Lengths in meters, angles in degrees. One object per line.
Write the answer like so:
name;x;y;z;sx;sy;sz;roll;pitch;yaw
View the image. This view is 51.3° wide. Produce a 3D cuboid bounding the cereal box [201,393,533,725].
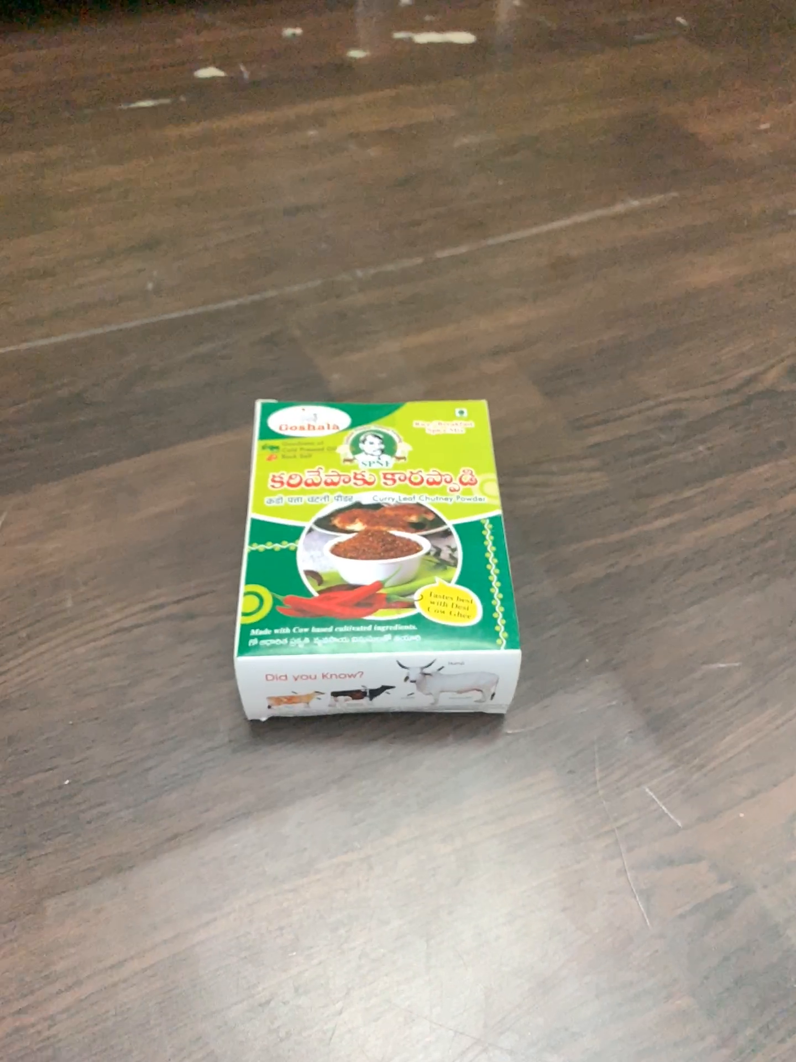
cereal box;-0.011;0.005;0.303;0.100;0.040;0.120;-1;50;-2
